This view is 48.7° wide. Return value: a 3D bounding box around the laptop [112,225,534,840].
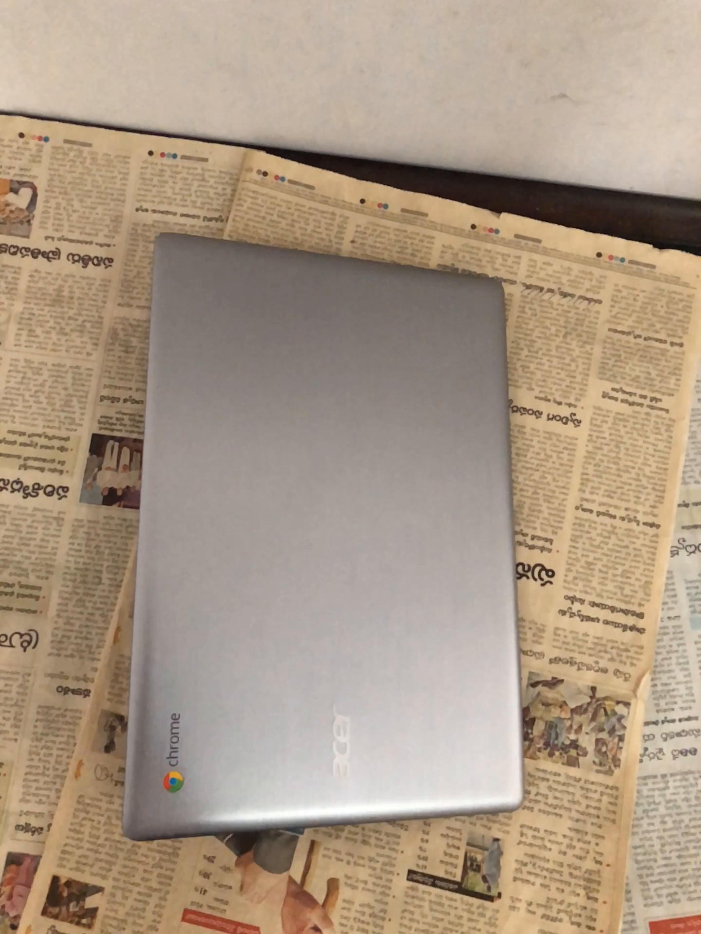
[{"bbox_3d":[-0.013,0.028,0.450,0.210,0.058,0.330,1,78,-1],"label":"laptop"}]
